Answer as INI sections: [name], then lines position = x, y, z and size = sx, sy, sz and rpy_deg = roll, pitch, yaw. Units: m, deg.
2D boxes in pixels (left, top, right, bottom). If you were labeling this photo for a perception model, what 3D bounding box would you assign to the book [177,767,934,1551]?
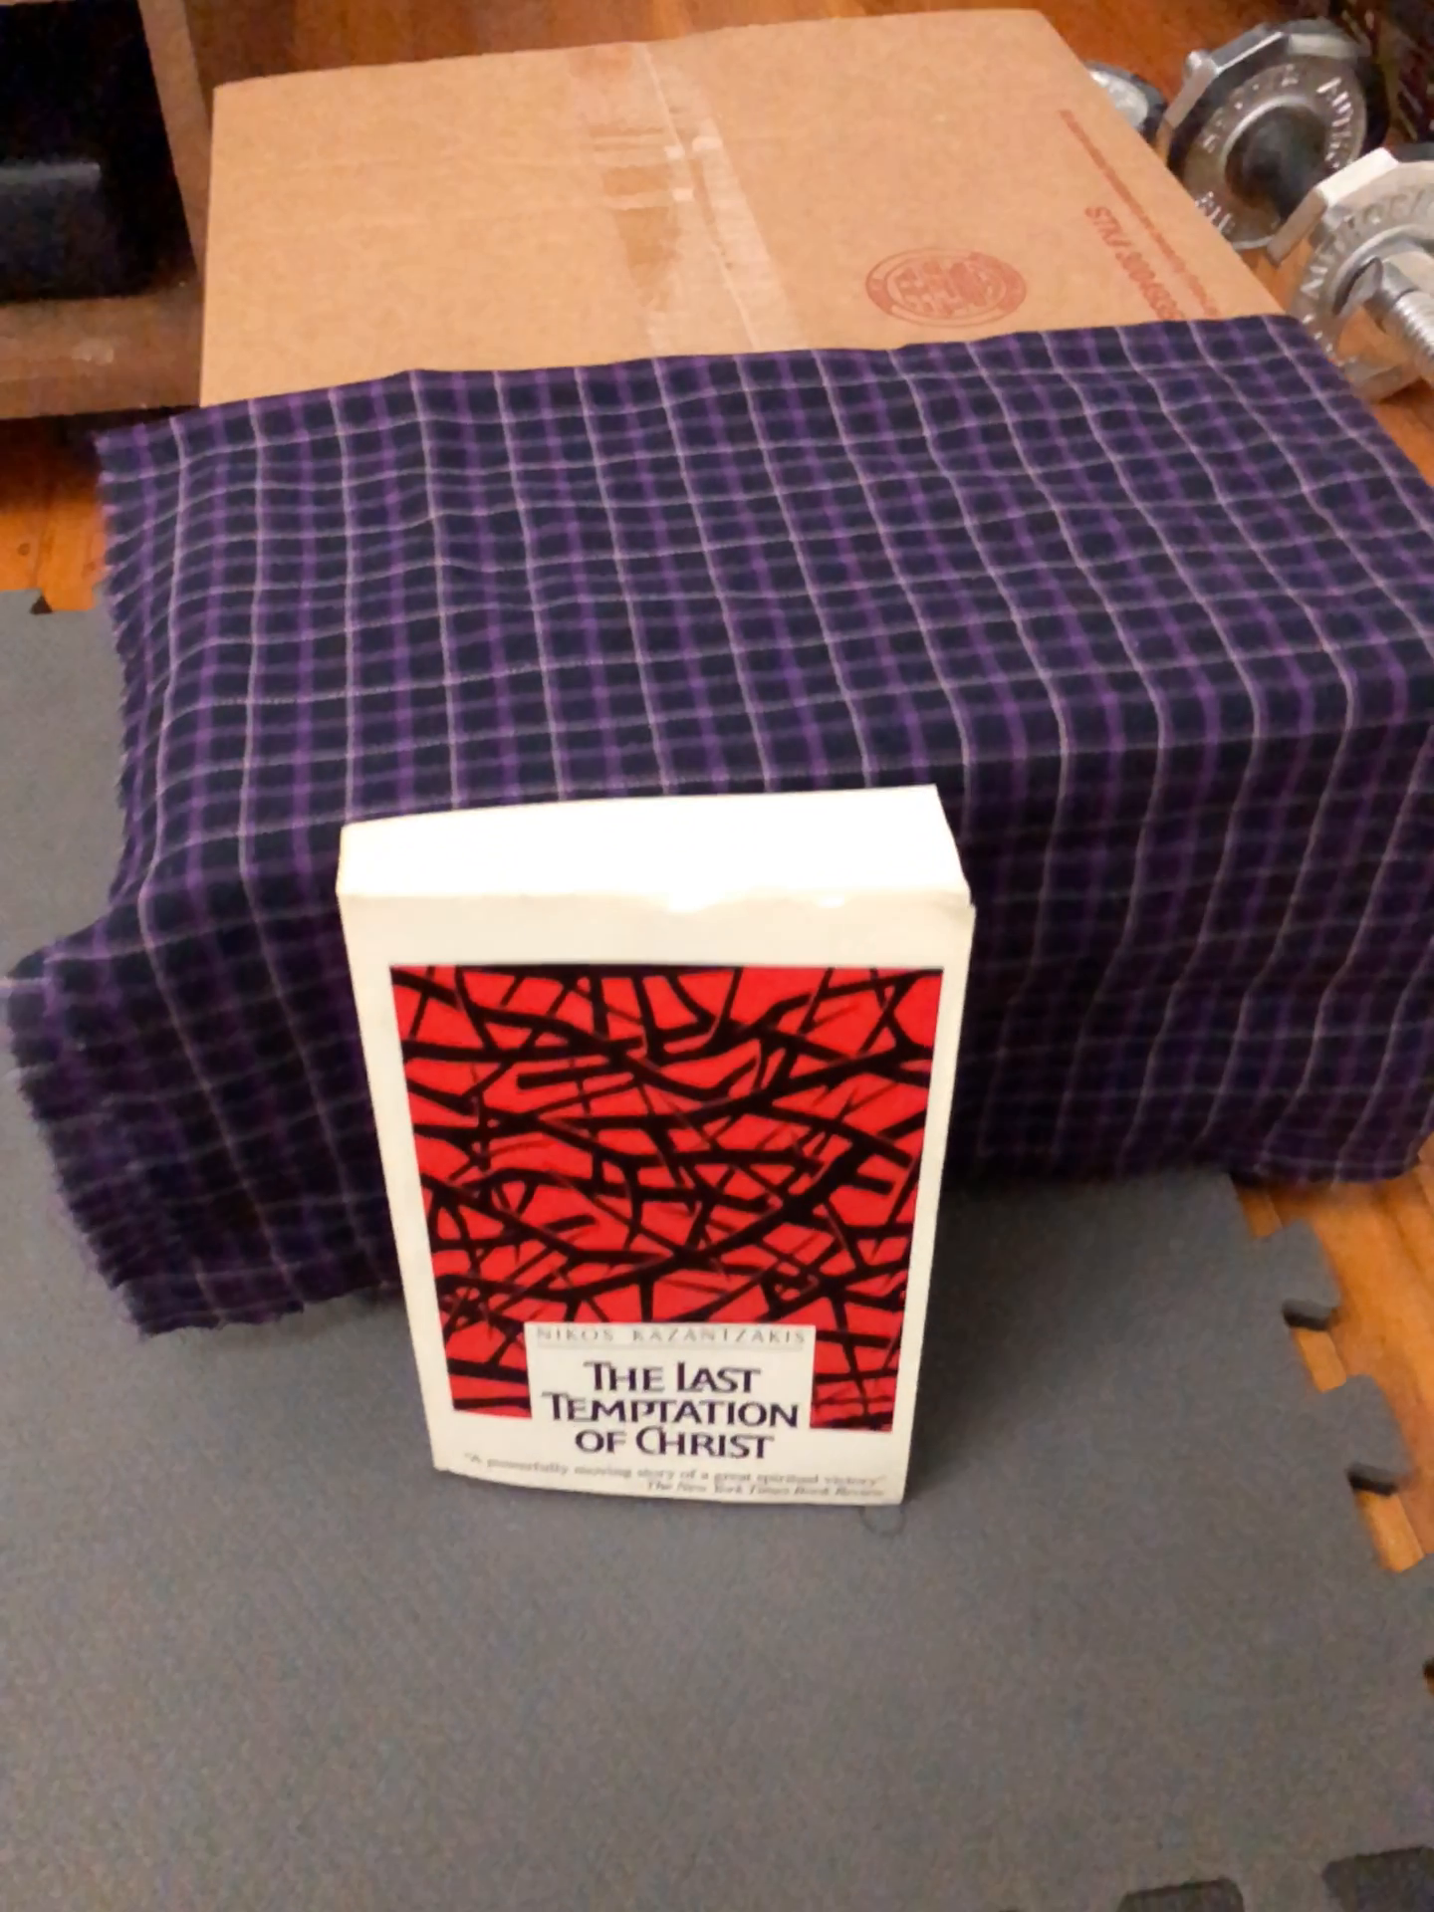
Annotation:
[book]
position = -0.026, 0.059, 0.392
size = 0.150, 0.209, 0.050
rpy_deg = 4, 39, 9
